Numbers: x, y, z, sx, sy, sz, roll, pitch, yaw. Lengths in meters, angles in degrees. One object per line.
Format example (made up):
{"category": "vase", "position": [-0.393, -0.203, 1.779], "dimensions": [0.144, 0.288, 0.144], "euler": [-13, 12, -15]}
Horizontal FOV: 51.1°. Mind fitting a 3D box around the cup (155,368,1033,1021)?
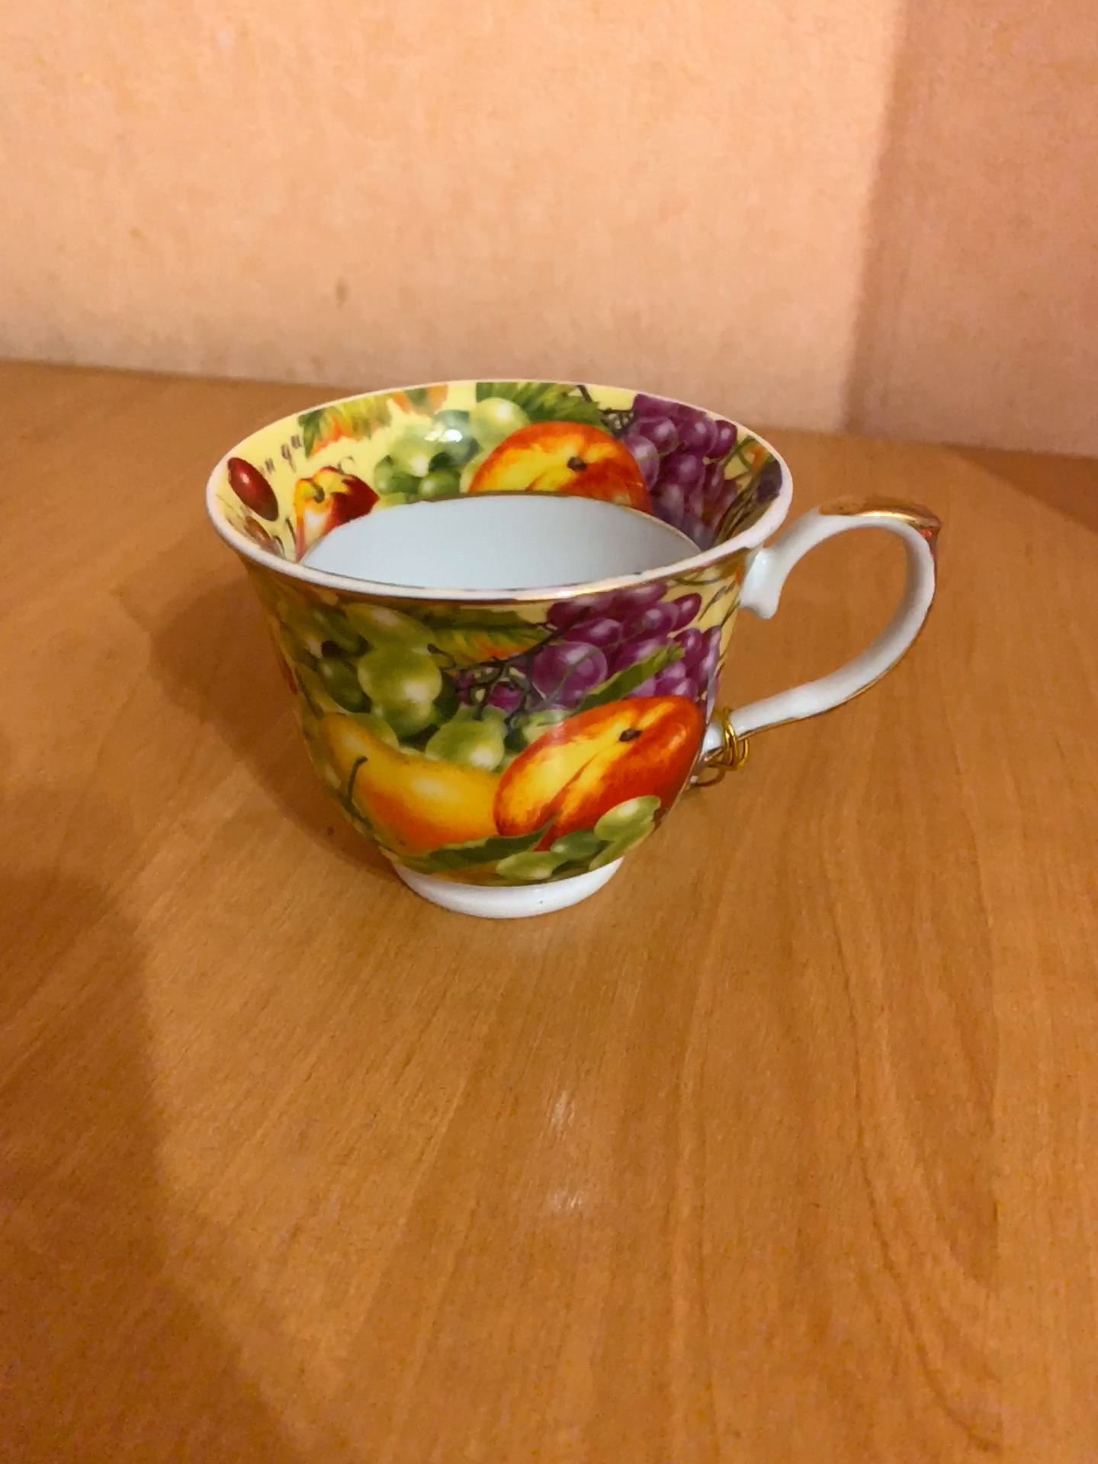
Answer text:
{"category": "cup", "position": [0.004, -0.012, 0.193], "dimensions": [0.106, 0.071, 0.086], "euler": [-2, 33, -3]}
